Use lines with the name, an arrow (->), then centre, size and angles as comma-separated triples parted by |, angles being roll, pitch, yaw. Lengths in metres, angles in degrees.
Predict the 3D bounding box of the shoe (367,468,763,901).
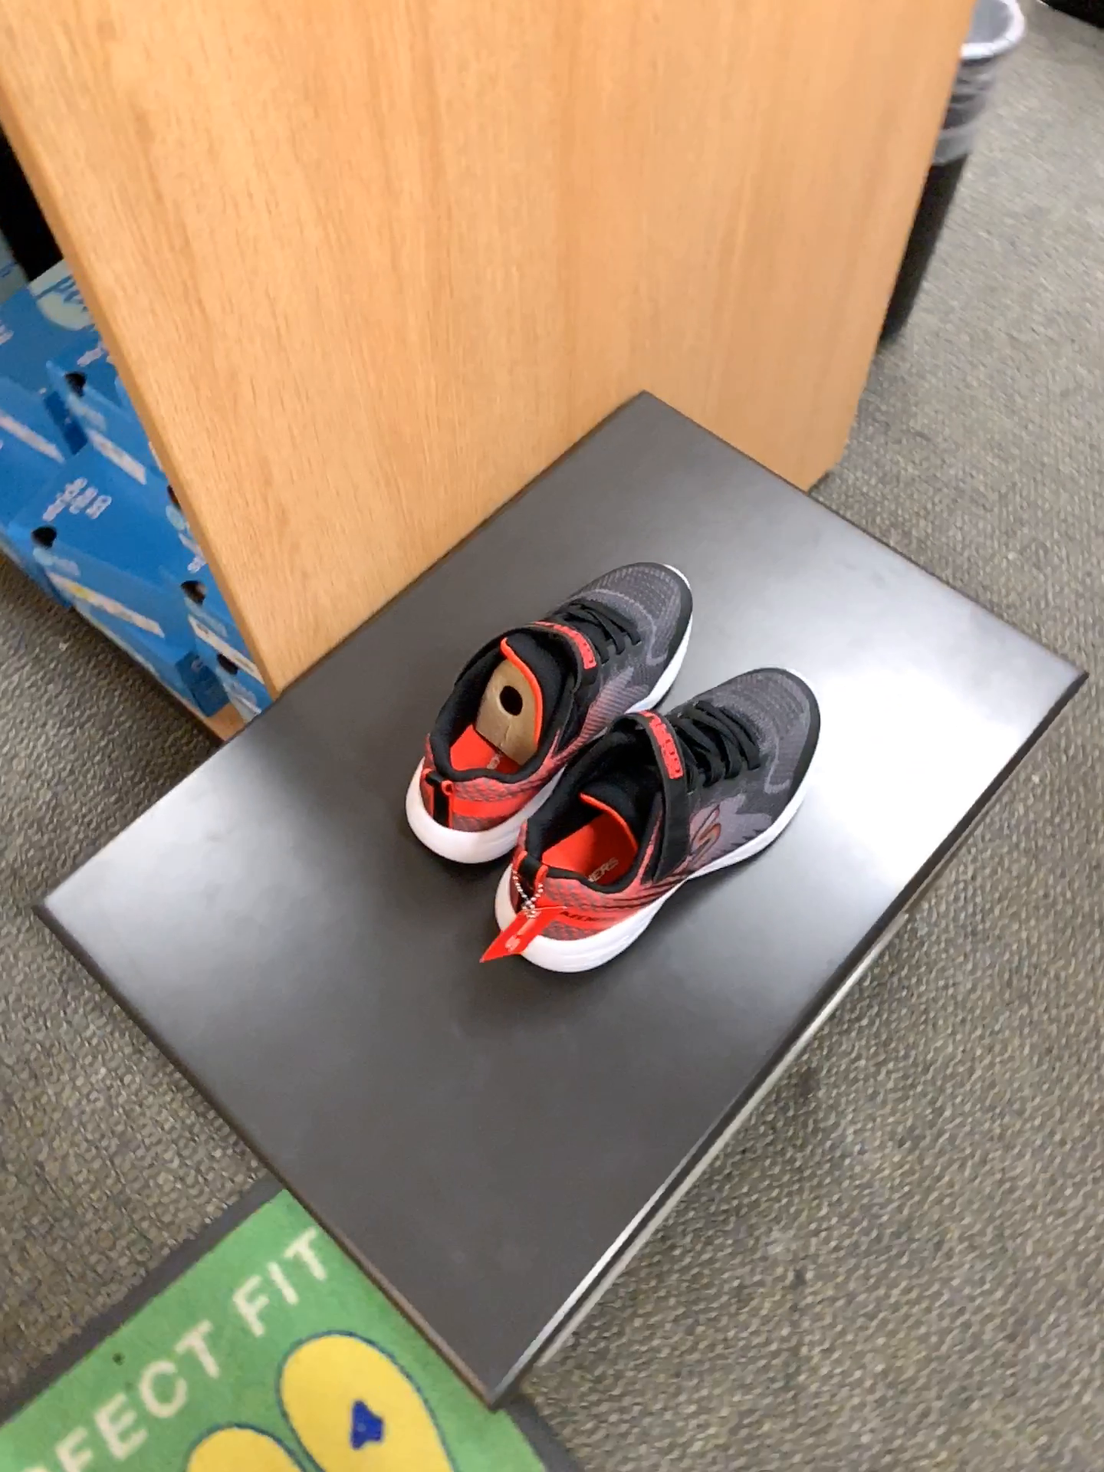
shoe -> 0.013, -0.035, 0.656 | 0.090, 0.080, 0.240 | 34, 67, 18

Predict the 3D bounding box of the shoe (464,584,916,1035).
shoe -> 0.077, 0.036, 0.625 | 0.240, 0.080, 0.098 | -40, 68, -19
